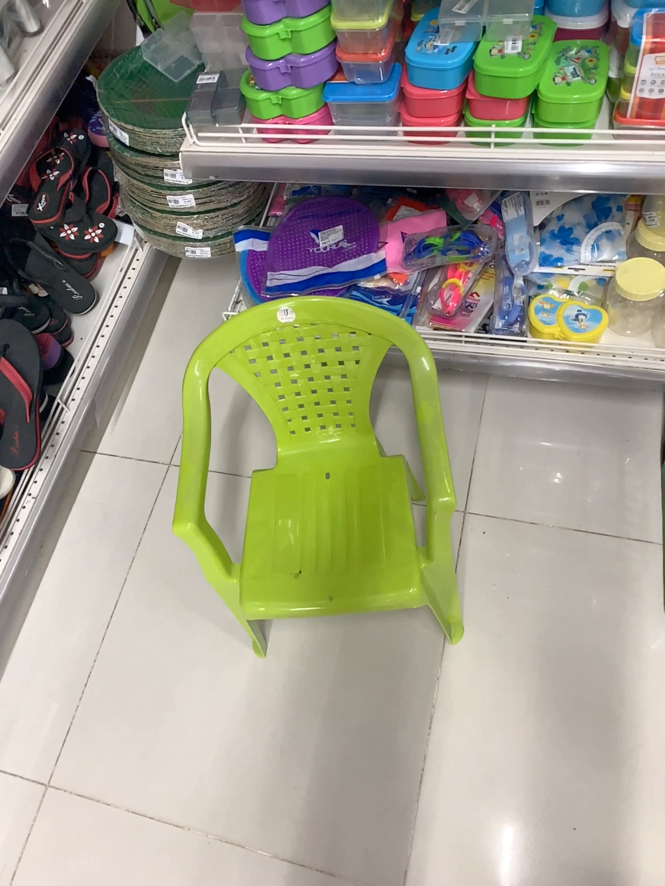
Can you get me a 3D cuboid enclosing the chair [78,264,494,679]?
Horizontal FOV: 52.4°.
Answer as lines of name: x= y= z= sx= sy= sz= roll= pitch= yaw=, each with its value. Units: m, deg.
chair: x=-0.012 y=0.084 z=0.906 sx=0.390 sy=0.469 sz=0.361 roll=-5 pitch=62 yaw=9
